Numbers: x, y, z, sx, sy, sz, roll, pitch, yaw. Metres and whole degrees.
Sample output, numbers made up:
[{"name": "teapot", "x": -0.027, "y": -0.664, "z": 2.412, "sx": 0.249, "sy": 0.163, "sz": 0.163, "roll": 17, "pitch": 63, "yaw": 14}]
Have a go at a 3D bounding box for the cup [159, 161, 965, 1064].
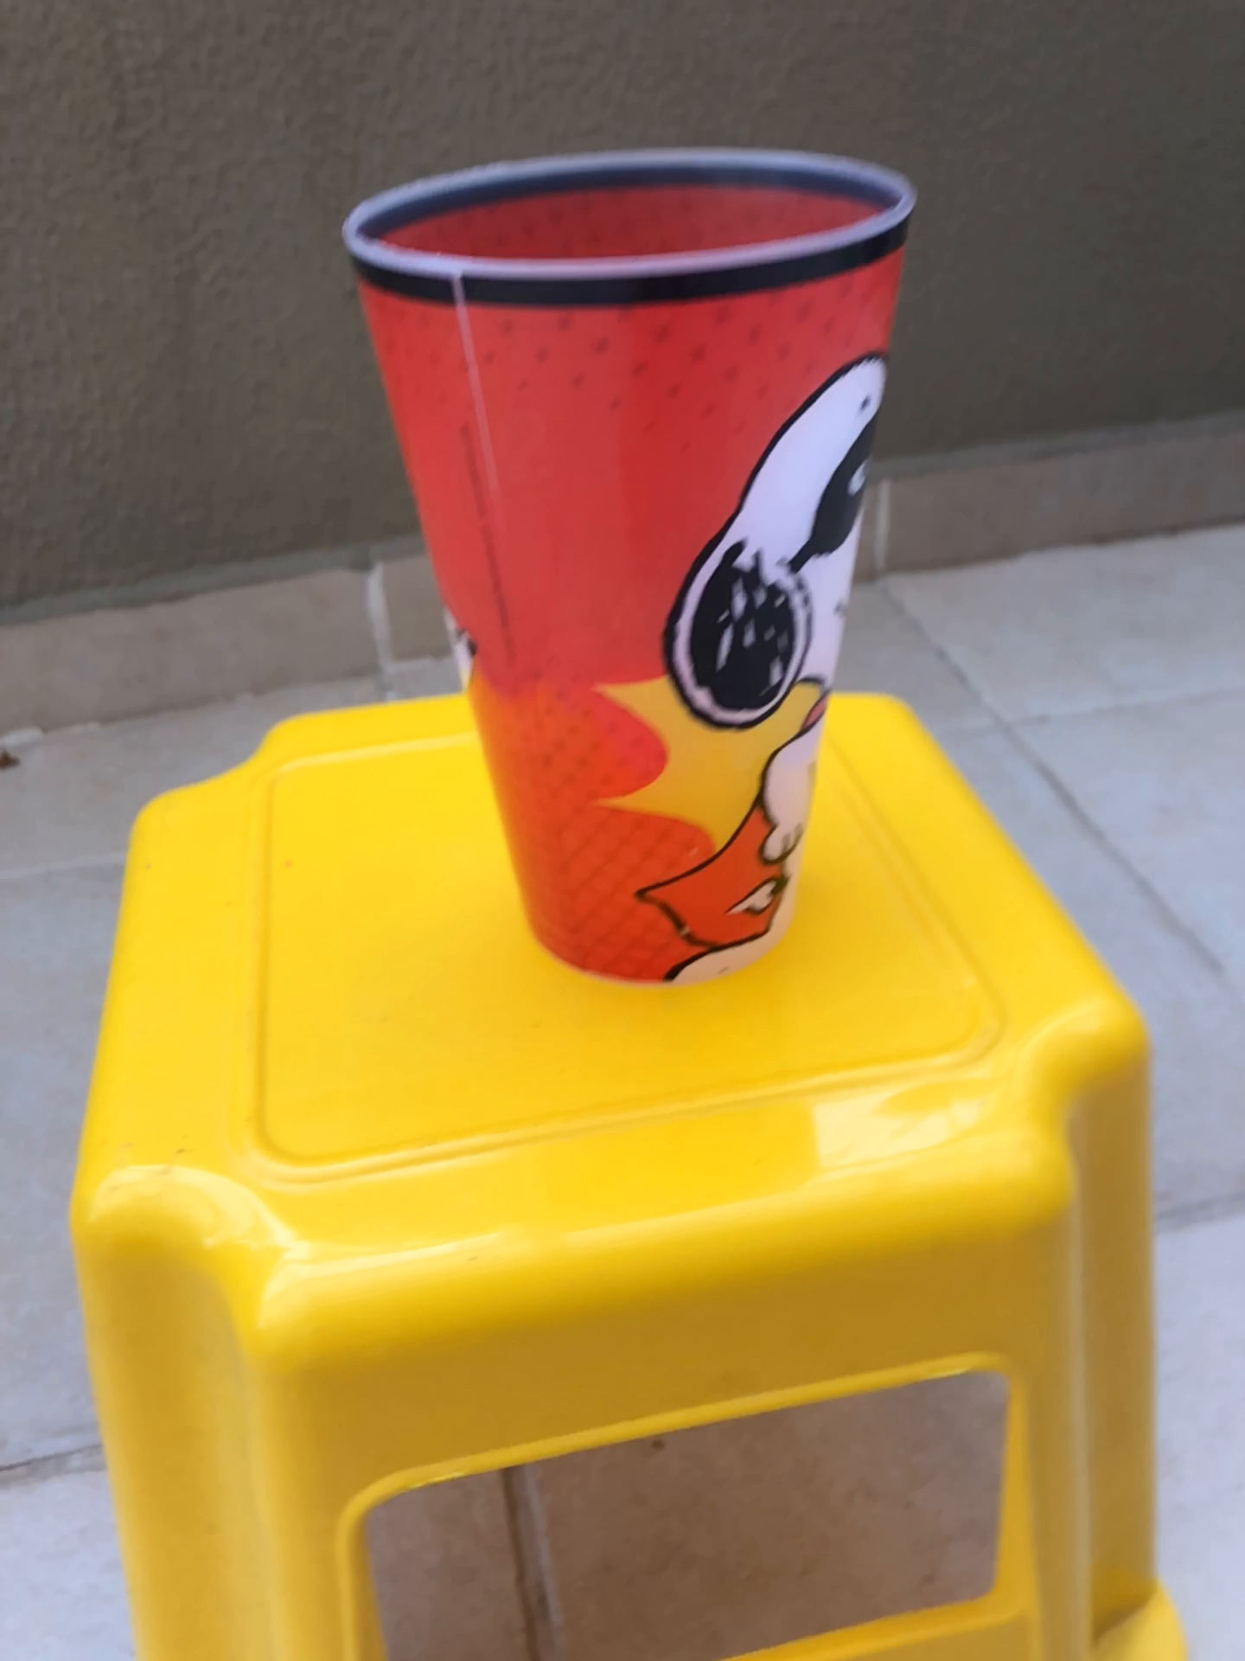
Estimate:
[{"name": "cup", "x": -0.001, "y": -0.050, "z": 0.282, "sx": 0.110, "sy": 0.139, "sz": 0.101, "roll": -3, "pitch": 34, "yaw": 2}]
